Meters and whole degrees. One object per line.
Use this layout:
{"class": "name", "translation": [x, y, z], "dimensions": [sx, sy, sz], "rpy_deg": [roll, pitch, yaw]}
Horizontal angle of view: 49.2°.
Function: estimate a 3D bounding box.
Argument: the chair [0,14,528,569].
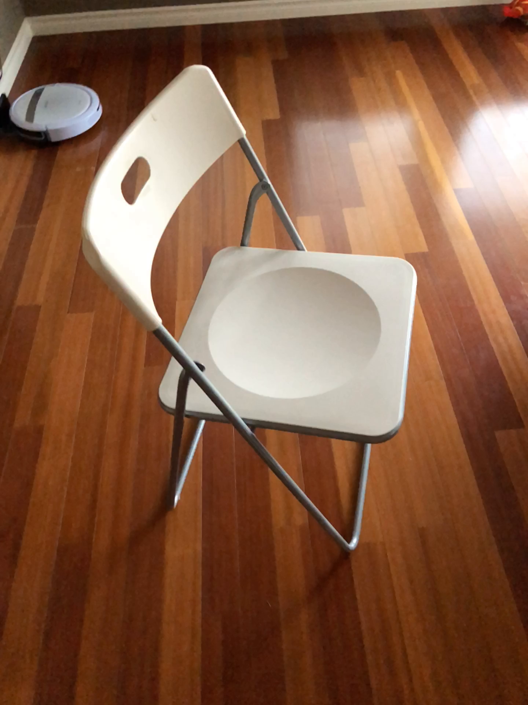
{"class": "chair", "translation": [0.049, -0.070, 0.840], "dimensions": [0.540, 0.577, 0.462], "rpy_deg": [9, 53, 10]}
